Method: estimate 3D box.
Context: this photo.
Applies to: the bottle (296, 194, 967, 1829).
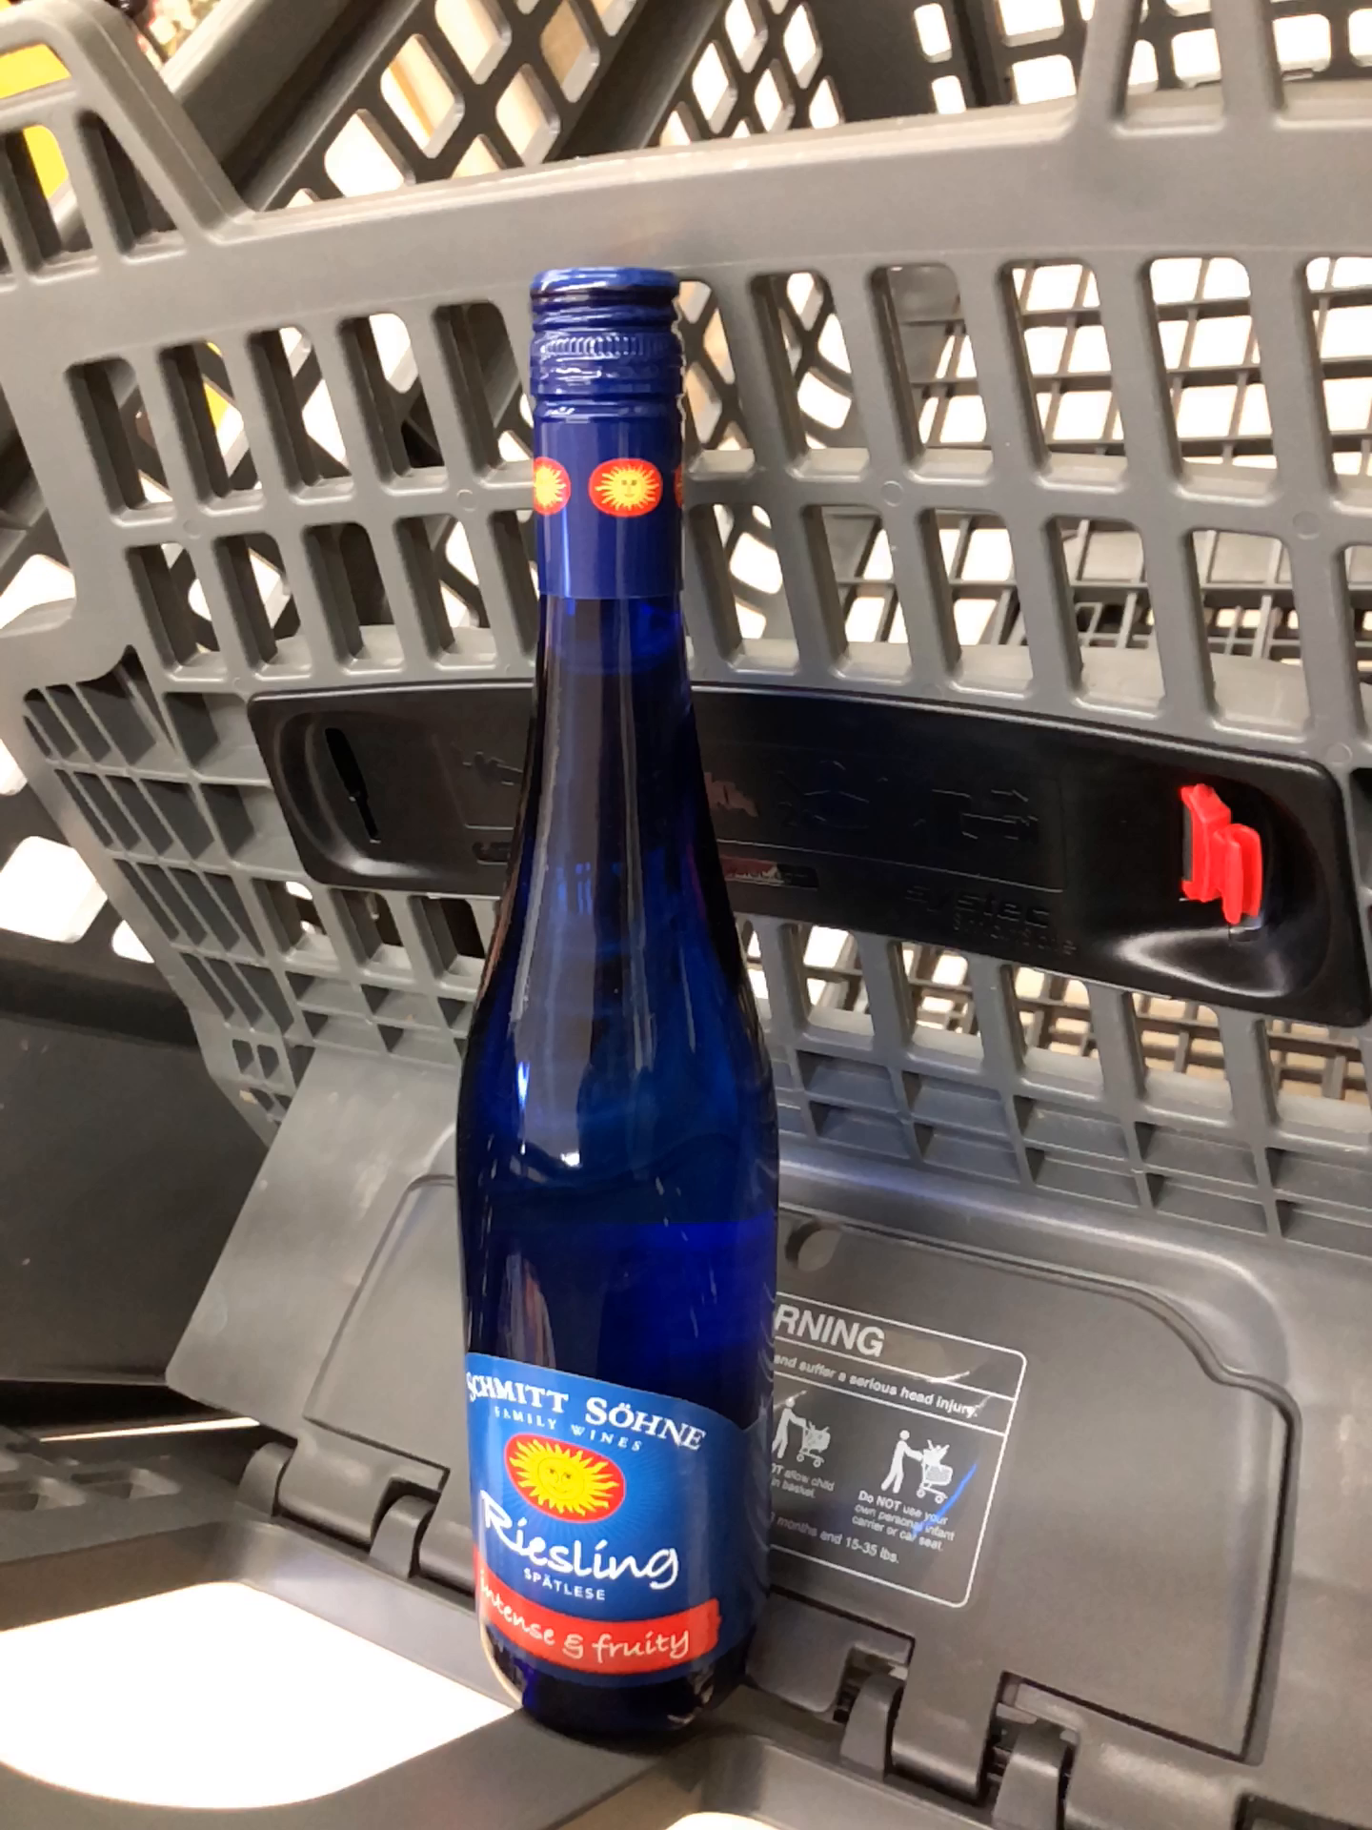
[{"bbox_3d":[-0.006,0.033,0.357,0.100,0.100,0.350,8,109,24],"label":"bottle"}]
